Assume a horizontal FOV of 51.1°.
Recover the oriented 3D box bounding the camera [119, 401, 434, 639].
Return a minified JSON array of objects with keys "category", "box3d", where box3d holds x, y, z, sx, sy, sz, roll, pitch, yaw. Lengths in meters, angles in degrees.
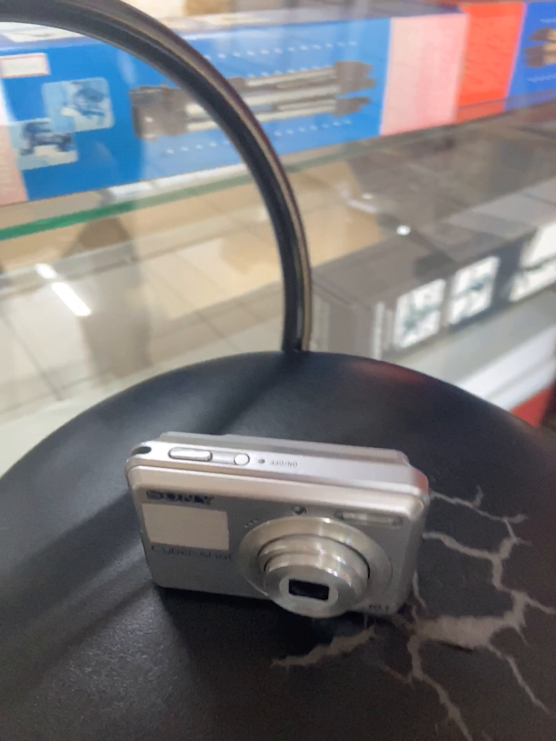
[{"category":"camera","box3d":[0.001,0.047,0.182,0.083,0.057,0.035,5,37,6]}]
